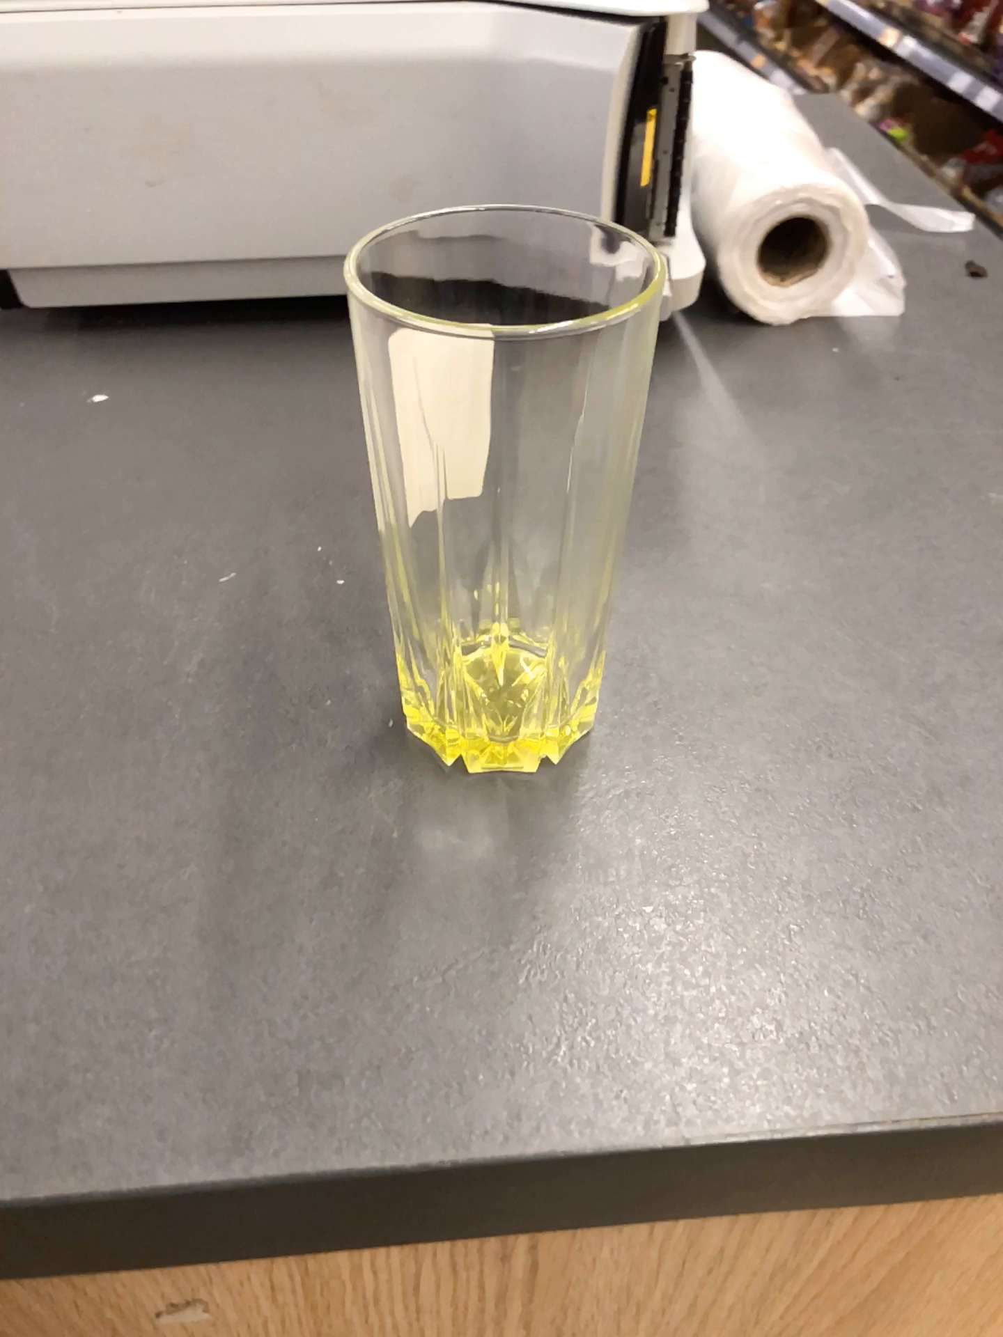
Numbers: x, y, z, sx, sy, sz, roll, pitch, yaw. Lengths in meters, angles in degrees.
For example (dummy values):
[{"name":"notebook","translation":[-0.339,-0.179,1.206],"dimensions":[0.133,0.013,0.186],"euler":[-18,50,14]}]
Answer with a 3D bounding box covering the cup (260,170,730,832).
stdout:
[{"name":"cup","translation":[-0.001,-0.041,0.285],"dimensions":[0.070,0.134,0.075],"euler":[0,42,0]}]
